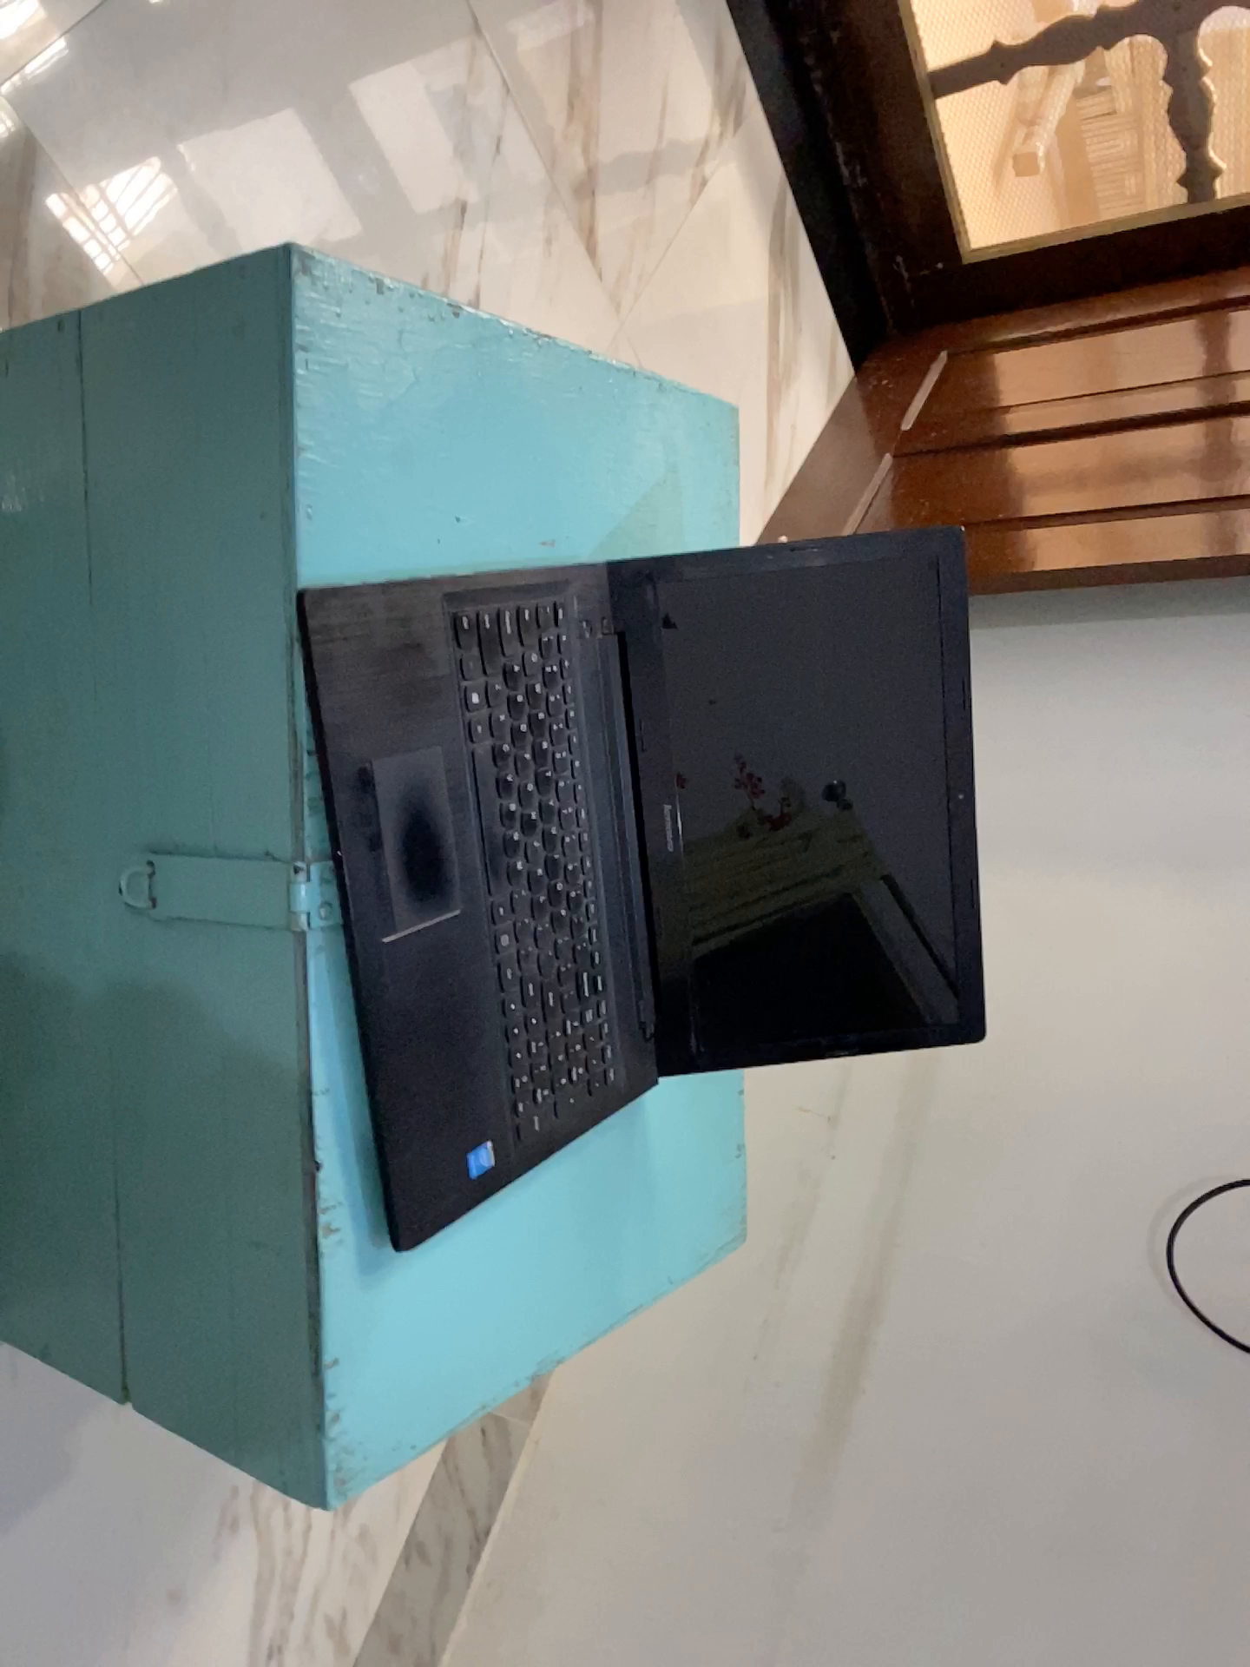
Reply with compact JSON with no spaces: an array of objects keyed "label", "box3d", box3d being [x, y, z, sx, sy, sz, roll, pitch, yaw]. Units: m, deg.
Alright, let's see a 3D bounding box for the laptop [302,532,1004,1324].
[{"label":"laptop","box3d":[0.059,0.014,0.807,0.426,0.190,0.371,-21,109,-51]}]
